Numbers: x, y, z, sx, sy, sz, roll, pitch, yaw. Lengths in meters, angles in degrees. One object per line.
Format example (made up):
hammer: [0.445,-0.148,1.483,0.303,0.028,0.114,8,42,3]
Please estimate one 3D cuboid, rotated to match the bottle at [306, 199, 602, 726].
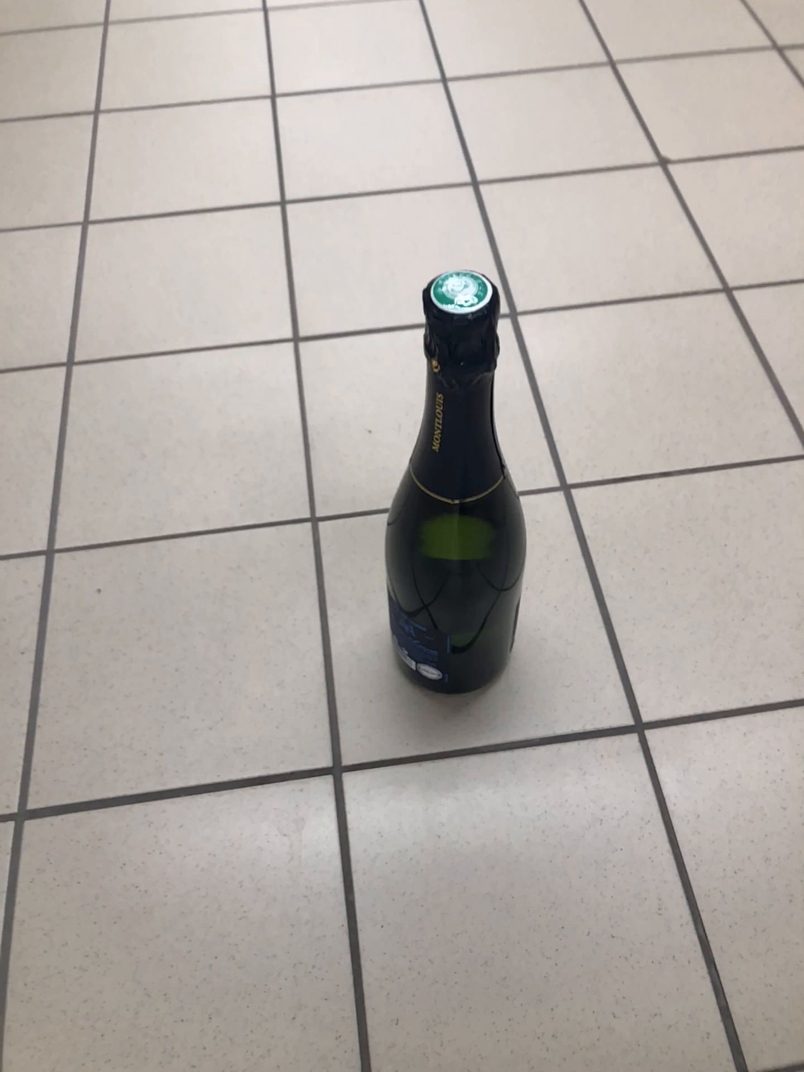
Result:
bottle: [0.026,-0.015,0.496,0.090,0.308,0.090,-1,55,1]
